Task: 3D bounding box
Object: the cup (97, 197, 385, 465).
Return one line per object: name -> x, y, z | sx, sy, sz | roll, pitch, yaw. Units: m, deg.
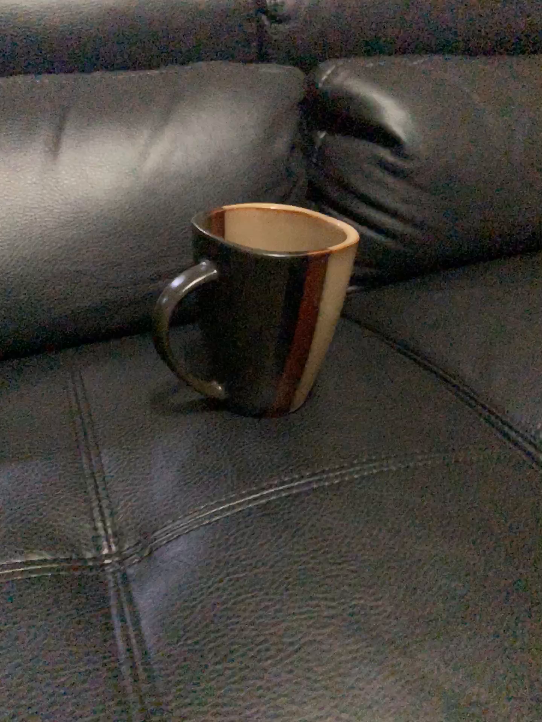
cup -> -0.021, -0.029, 0.357 | 0.138, 0.109, 0.098 | -18, 39, -34
